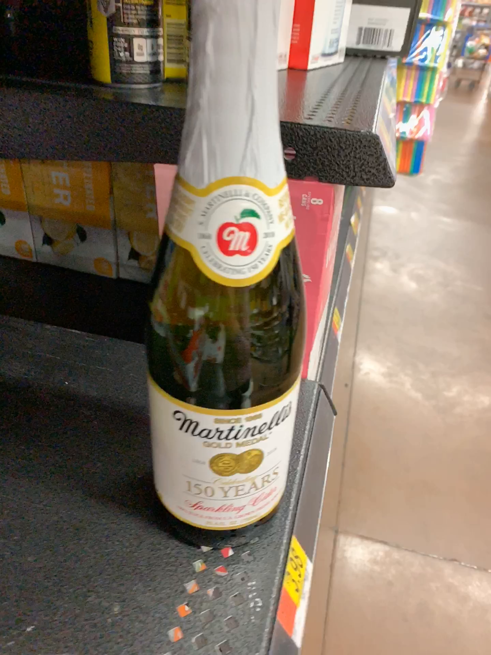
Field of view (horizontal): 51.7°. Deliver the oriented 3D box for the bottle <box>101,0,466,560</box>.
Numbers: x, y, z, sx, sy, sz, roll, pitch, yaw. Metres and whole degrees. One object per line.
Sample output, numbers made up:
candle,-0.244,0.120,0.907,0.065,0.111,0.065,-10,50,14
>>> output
bottle,-0.007,-0.020,0.241,0.089,0.298,0.091,4,34,-3
